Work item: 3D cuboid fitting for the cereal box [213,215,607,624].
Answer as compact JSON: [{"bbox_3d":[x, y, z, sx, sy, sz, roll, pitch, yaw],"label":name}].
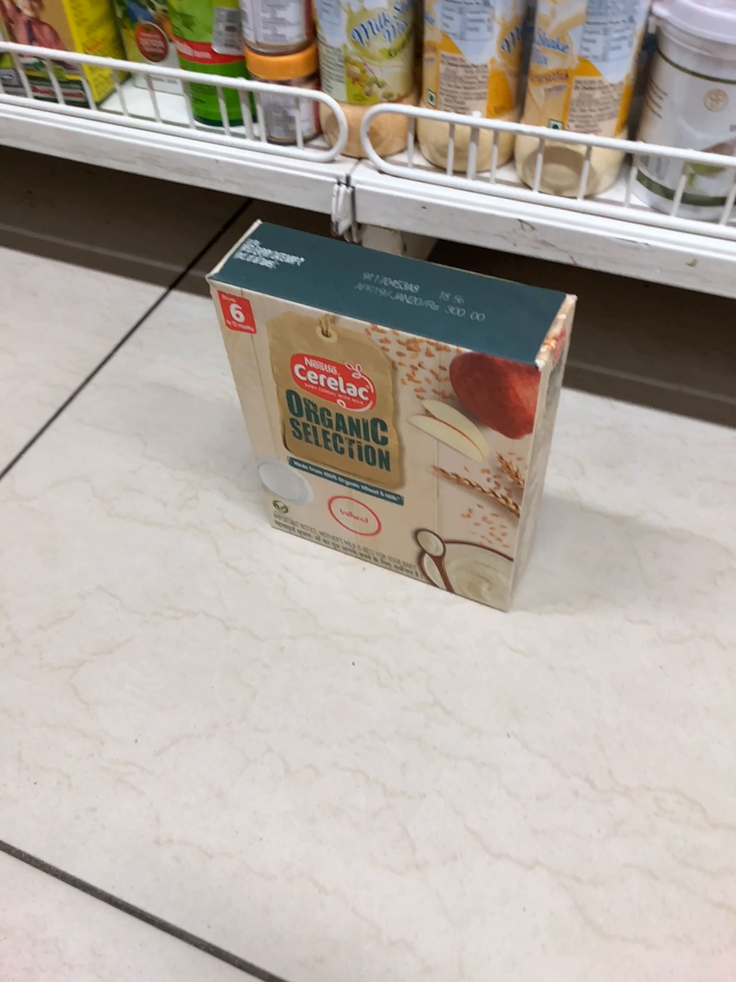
[{"bbox_3d":[0.020,-0.028,0.417,0.160,0.189,0.050,18,54,18],"label":"cereal box"}]
